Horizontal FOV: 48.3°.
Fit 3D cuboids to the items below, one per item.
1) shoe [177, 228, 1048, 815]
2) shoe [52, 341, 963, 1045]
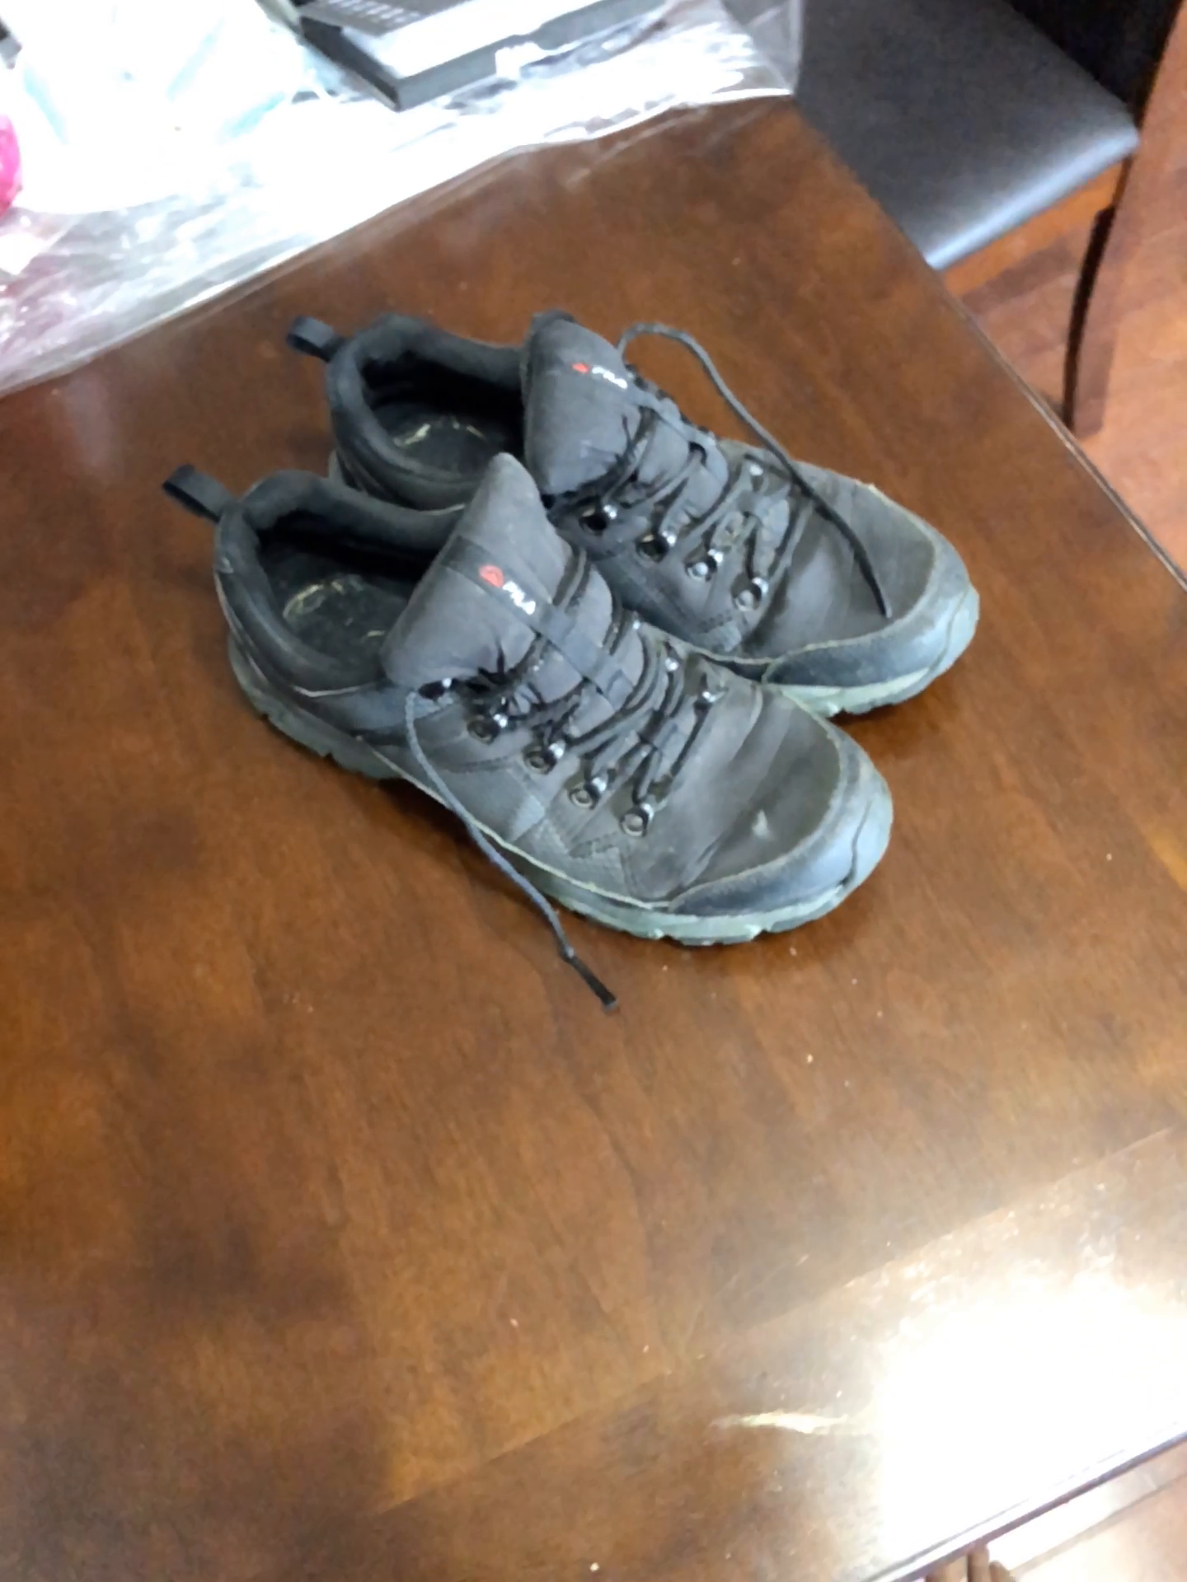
[{"bbox_3d":[0.010,-0.118,0.583,0.320,0.150,0.120,17,68,15],"label":"shoe"},{"bbox_3d":[-0.031,-0.040,0.557,0.320,0.170,0.120,24,70,18],"label":"shoe"}]
